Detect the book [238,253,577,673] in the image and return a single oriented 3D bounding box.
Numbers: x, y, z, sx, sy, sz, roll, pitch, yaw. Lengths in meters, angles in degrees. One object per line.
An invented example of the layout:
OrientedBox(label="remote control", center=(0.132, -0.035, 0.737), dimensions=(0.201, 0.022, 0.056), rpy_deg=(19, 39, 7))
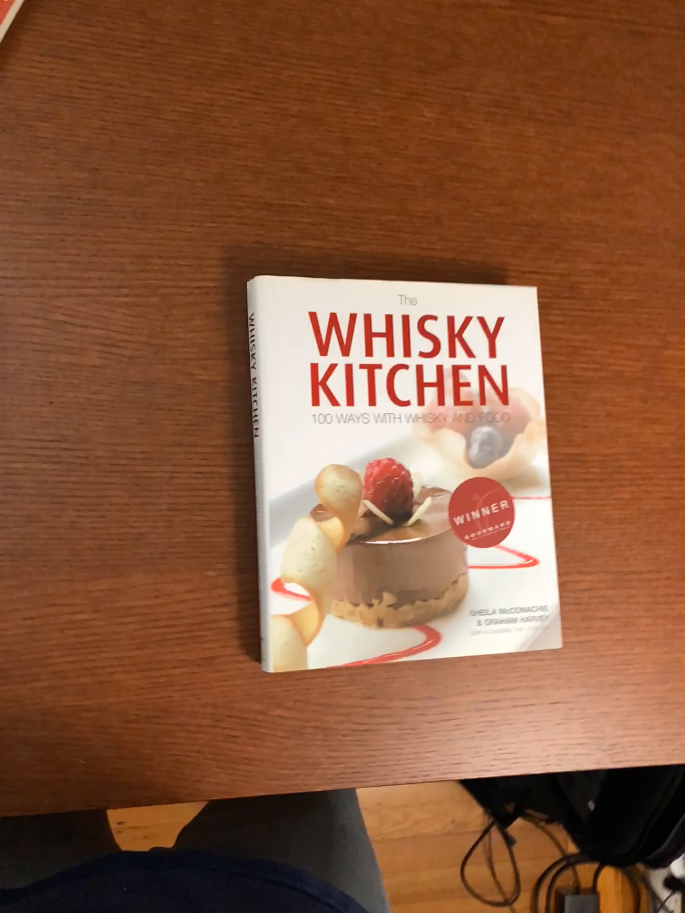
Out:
OrientedBox(label="book", center=(0.043, 0.000, 0.527), dimensions=(0.220, 0.040, 0.270), rpy_deg=(-1, 84, -13))
